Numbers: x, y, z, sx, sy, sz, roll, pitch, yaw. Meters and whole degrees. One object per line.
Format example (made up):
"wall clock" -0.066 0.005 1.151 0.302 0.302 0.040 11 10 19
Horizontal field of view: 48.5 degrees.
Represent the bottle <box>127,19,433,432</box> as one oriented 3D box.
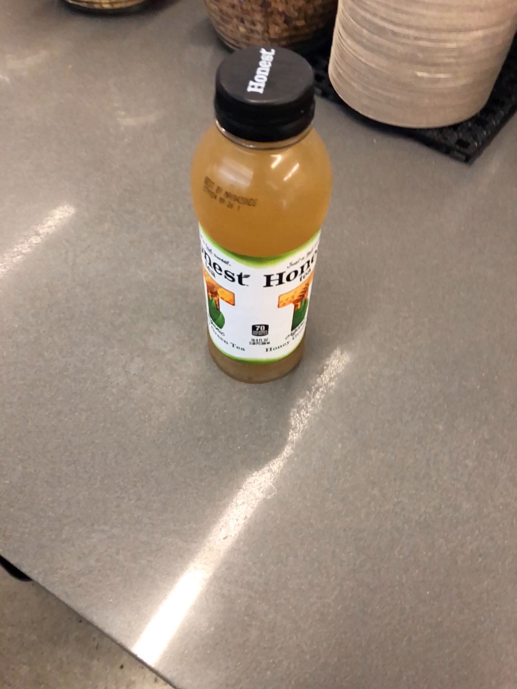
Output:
"bottle" 0.006 -0.049 0.316 0.090 0.189 0.090 1 57 -1
